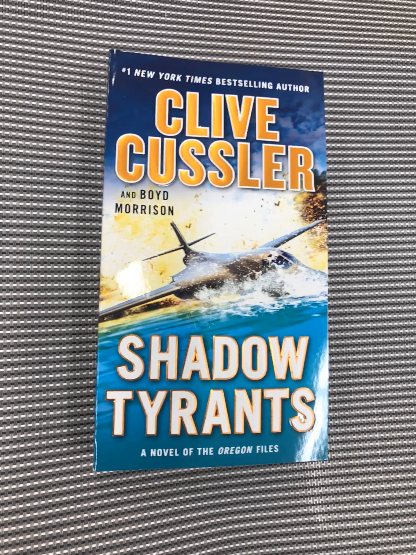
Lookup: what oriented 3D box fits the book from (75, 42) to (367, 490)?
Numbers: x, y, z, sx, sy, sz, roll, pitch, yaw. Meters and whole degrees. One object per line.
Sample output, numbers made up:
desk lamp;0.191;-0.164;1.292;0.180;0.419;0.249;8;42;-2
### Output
book;0.005;-0.004;0.225;0.120;0.060;0.180;3;83;-11
